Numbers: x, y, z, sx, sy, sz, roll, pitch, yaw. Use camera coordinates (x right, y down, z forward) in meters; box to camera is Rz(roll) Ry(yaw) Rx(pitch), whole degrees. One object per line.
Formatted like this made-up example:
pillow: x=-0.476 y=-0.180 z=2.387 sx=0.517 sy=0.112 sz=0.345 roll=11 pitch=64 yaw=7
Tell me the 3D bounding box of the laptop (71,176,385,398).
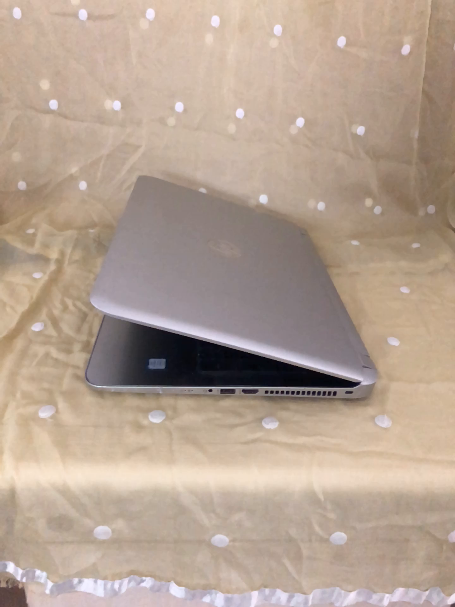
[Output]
laptop: x=-0.007 y=-0.048 z=0.564 sx=0.243 sy=0.077 sz=0.367 roll=2 pitch=30 yaw=-4
